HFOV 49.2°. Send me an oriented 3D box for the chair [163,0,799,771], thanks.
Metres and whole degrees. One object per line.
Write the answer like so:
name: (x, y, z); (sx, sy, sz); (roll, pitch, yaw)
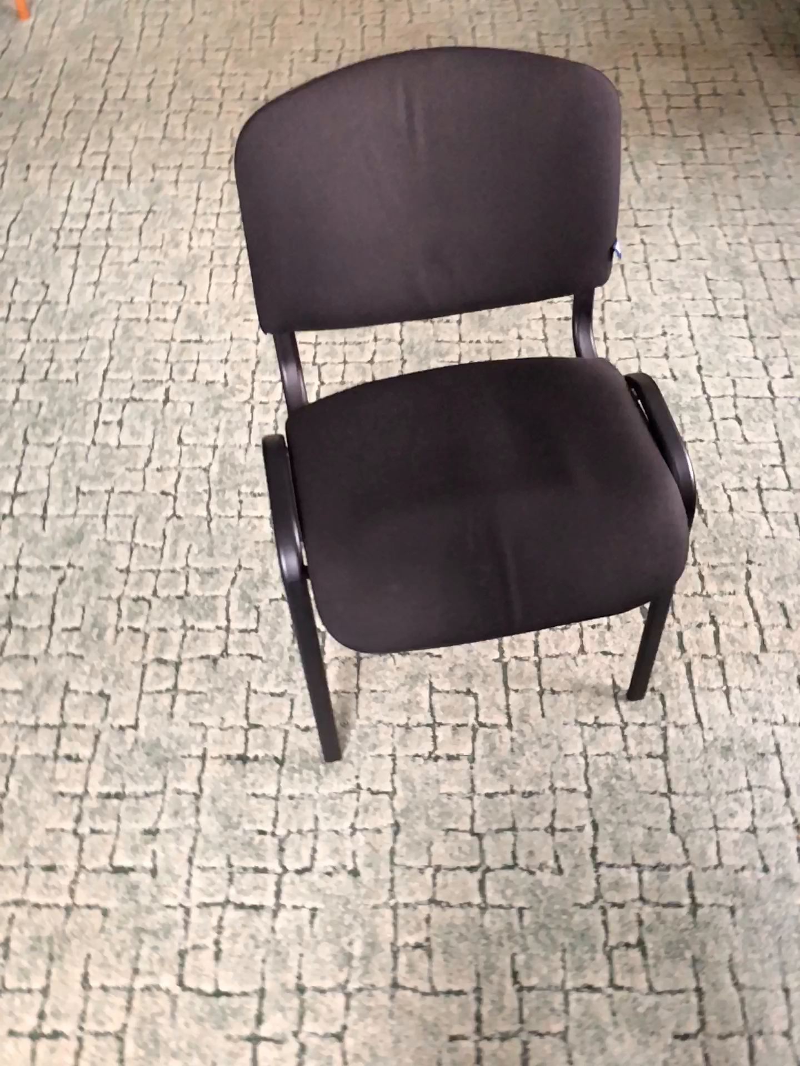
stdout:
chair: (0.081, -0.132, 1.196); (0.580, 0.786, 0.603); (-10, 60, -4)
